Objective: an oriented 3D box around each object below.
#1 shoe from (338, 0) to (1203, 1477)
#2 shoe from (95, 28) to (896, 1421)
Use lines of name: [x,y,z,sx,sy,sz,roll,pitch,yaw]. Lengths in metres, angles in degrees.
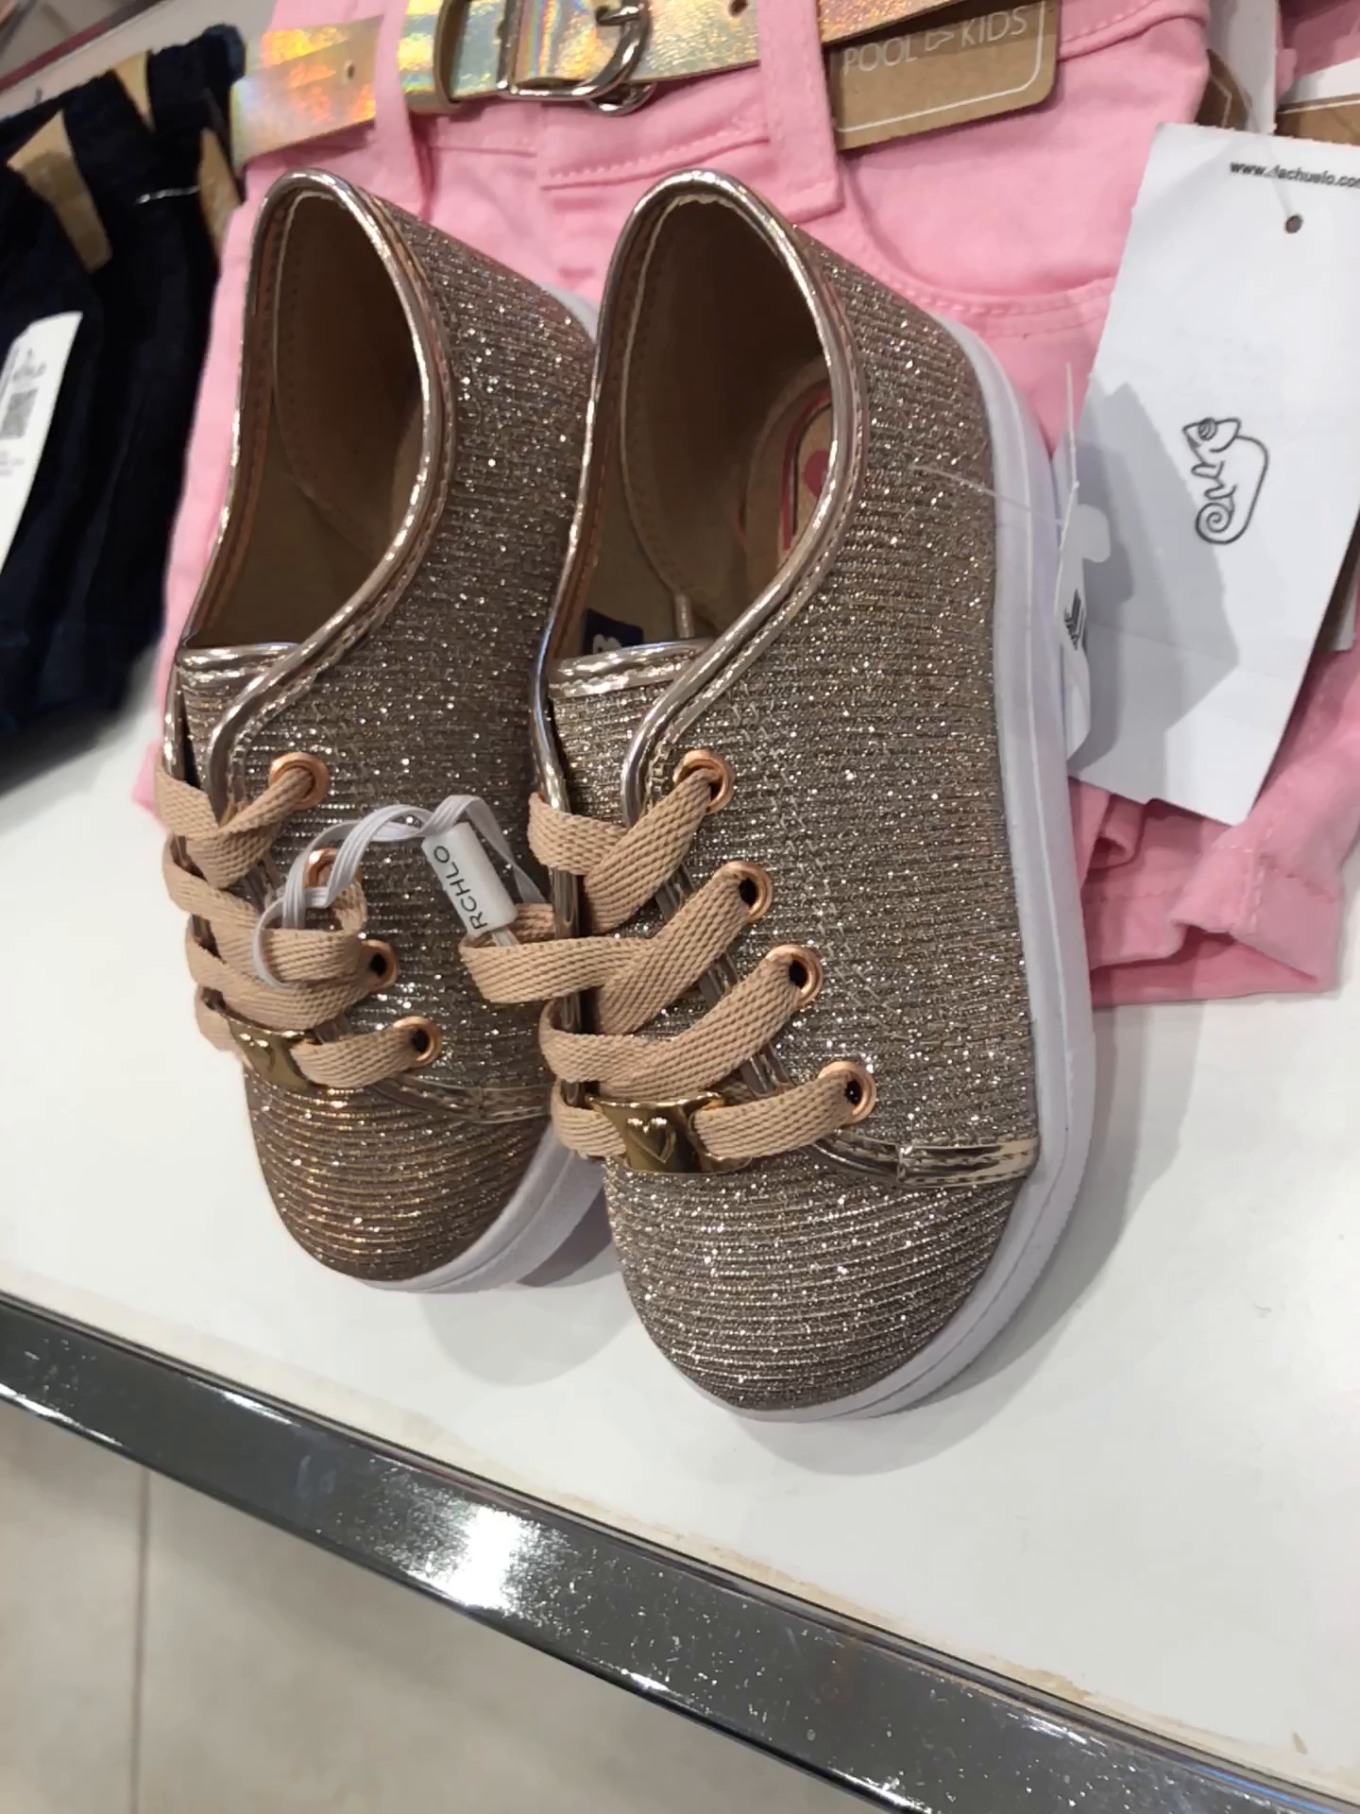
shoe: [0.021,-0.016,0.216,0.080,0.080,0.170,-6,71,35]
shoe: [-0.026,-0.023,0.238,0.070,0.080,0.170,6,89,39]
